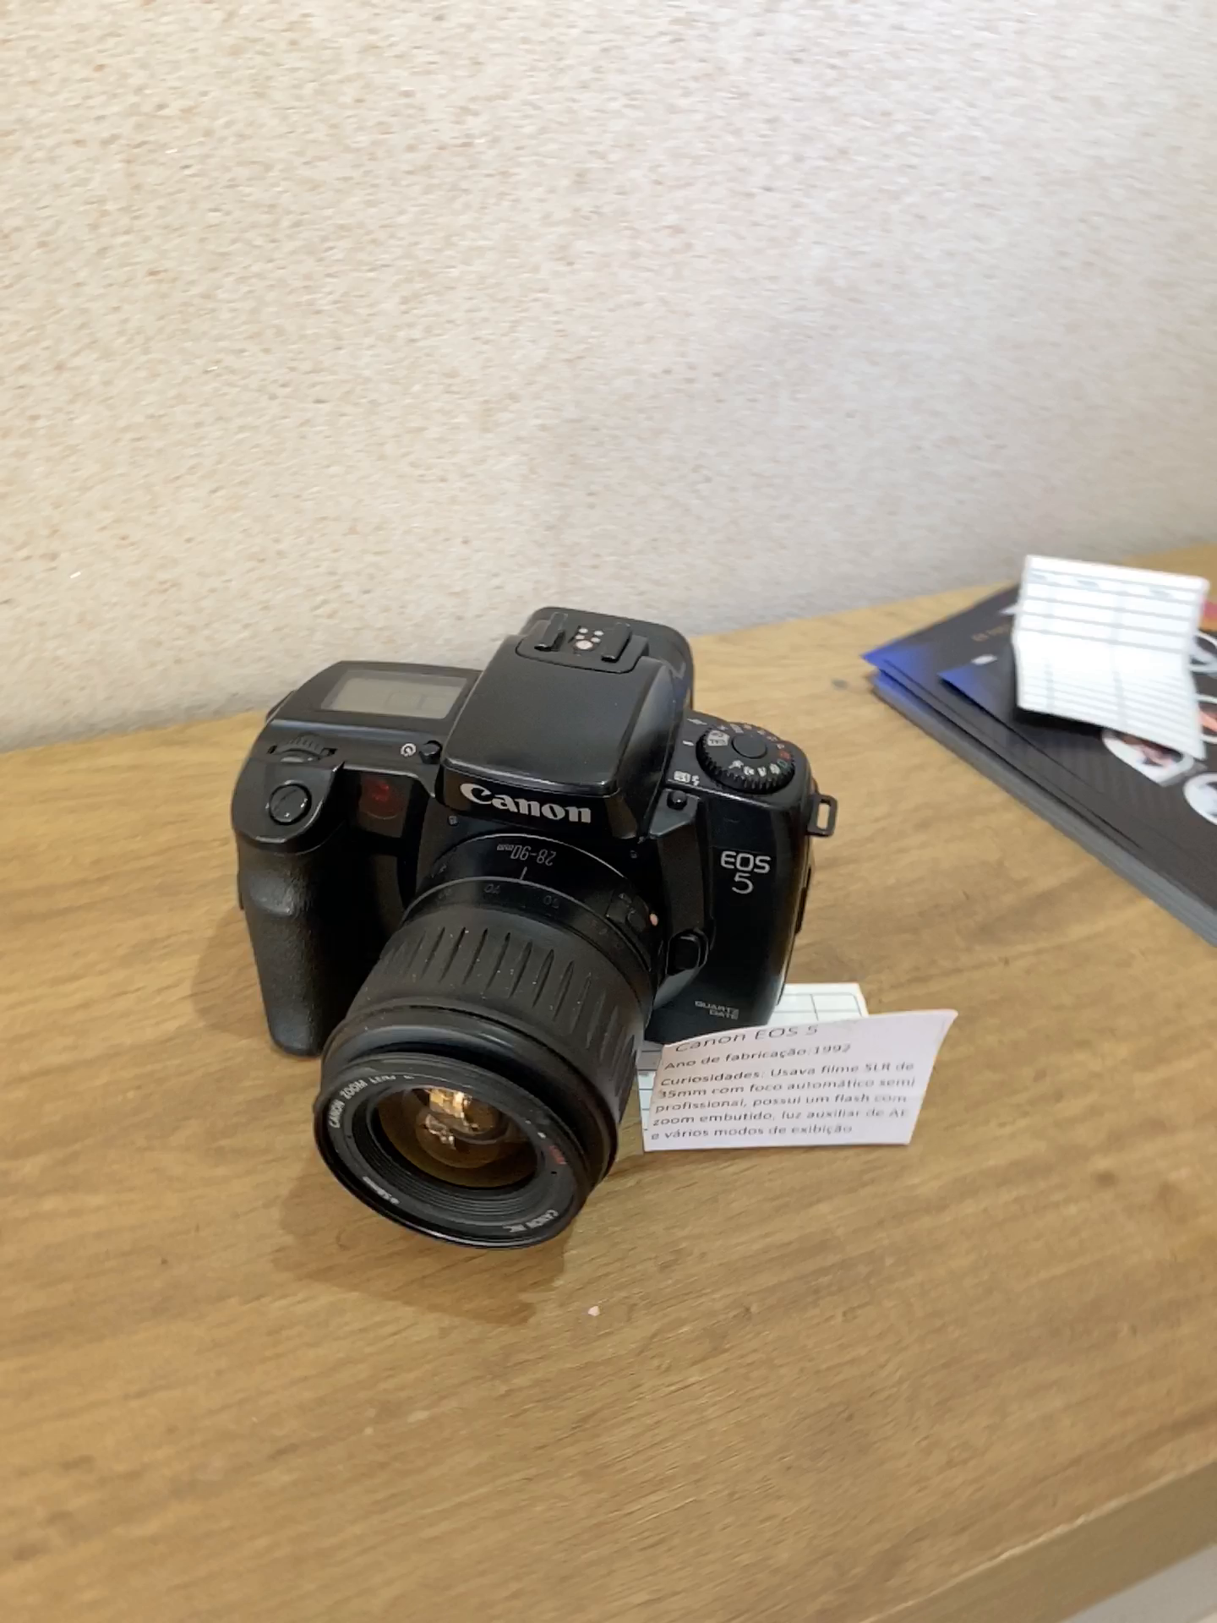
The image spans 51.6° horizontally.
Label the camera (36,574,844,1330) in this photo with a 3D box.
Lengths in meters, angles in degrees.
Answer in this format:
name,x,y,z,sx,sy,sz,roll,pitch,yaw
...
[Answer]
name,x,y,z,sx,sy,sz,roll,pitch,yaw
camera,-0.025,0.022,0.344,0.160,0.079,0.181,8,39,7
